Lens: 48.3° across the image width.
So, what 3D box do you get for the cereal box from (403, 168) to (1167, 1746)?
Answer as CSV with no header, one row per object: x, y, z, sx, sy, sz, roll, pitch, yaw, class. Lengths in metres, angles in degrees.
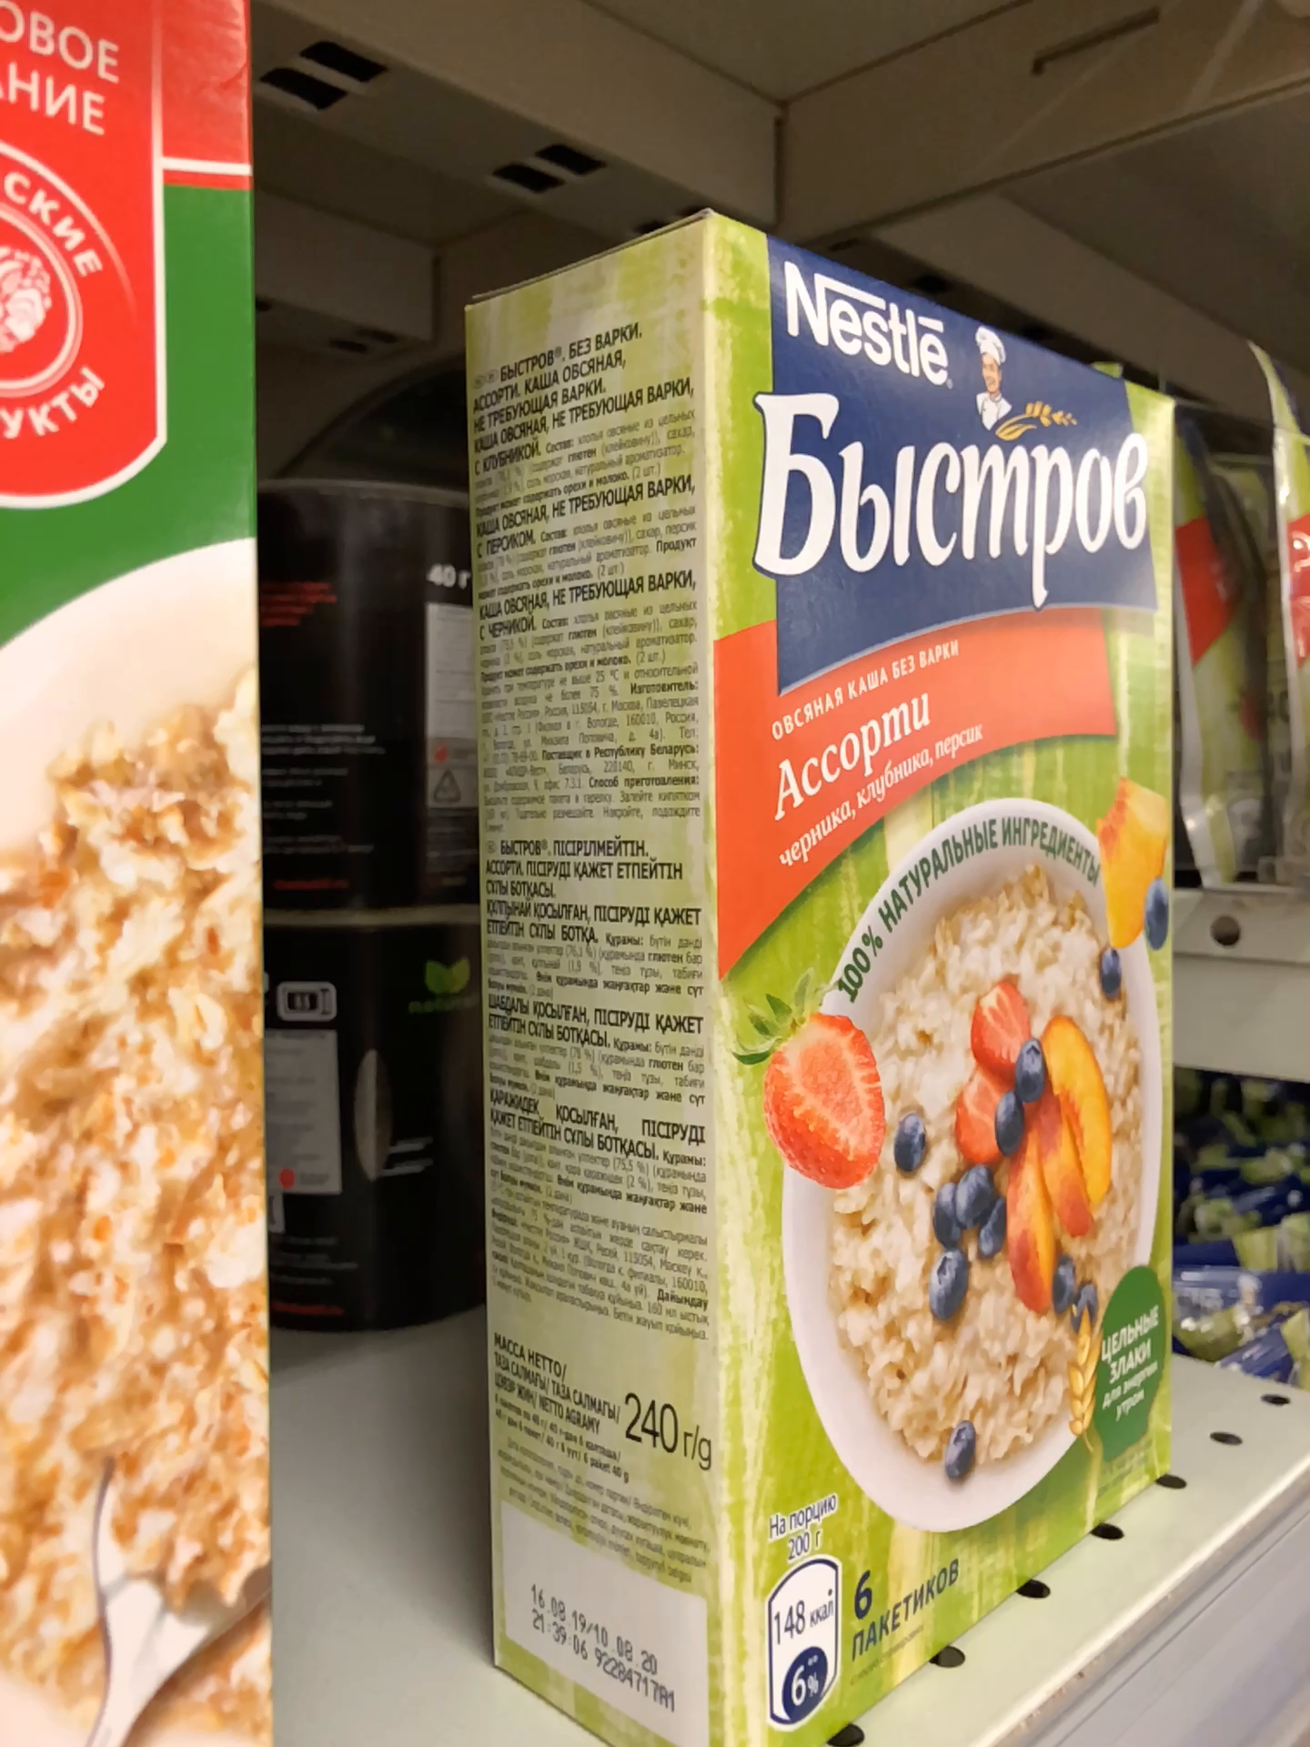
0.029,0.015,0.235,0.050,0.200,0.130,2,4,44,cereal box
